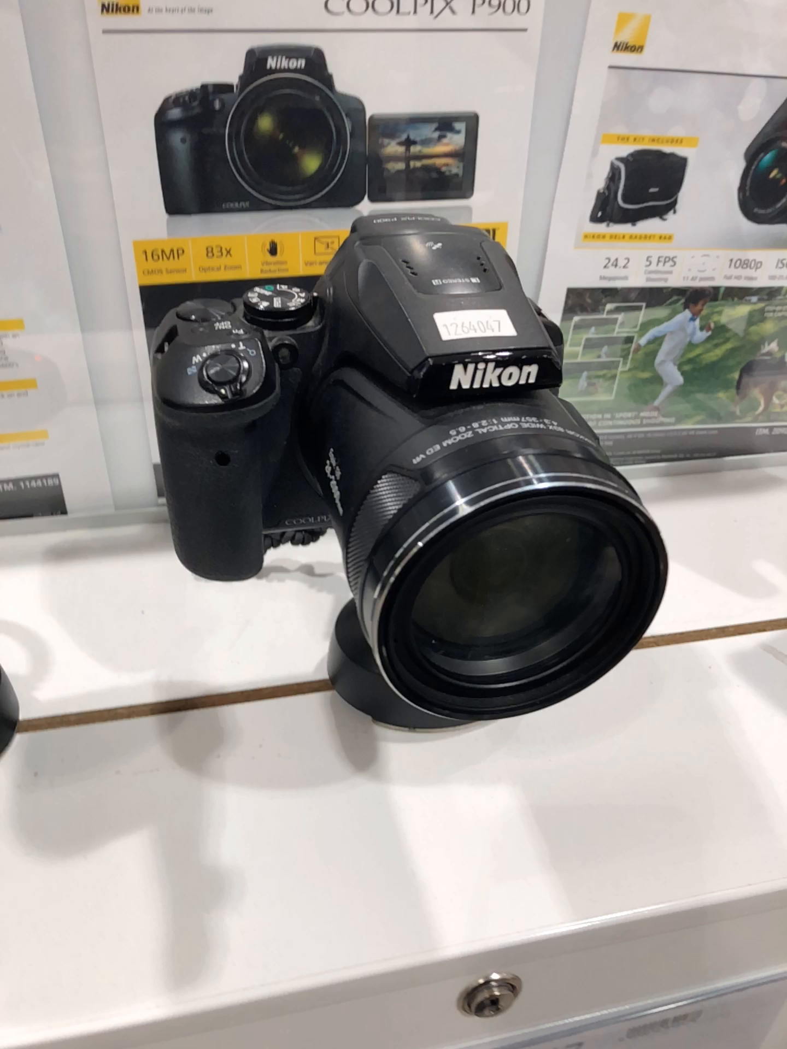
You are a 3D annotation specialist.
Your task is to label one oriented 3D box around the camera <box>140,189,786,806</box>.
[{"bbox_3d":[0.005,-0.027,0.259,0.140,0.100,0.161,-6,35,-14],"label":"camera"}]
